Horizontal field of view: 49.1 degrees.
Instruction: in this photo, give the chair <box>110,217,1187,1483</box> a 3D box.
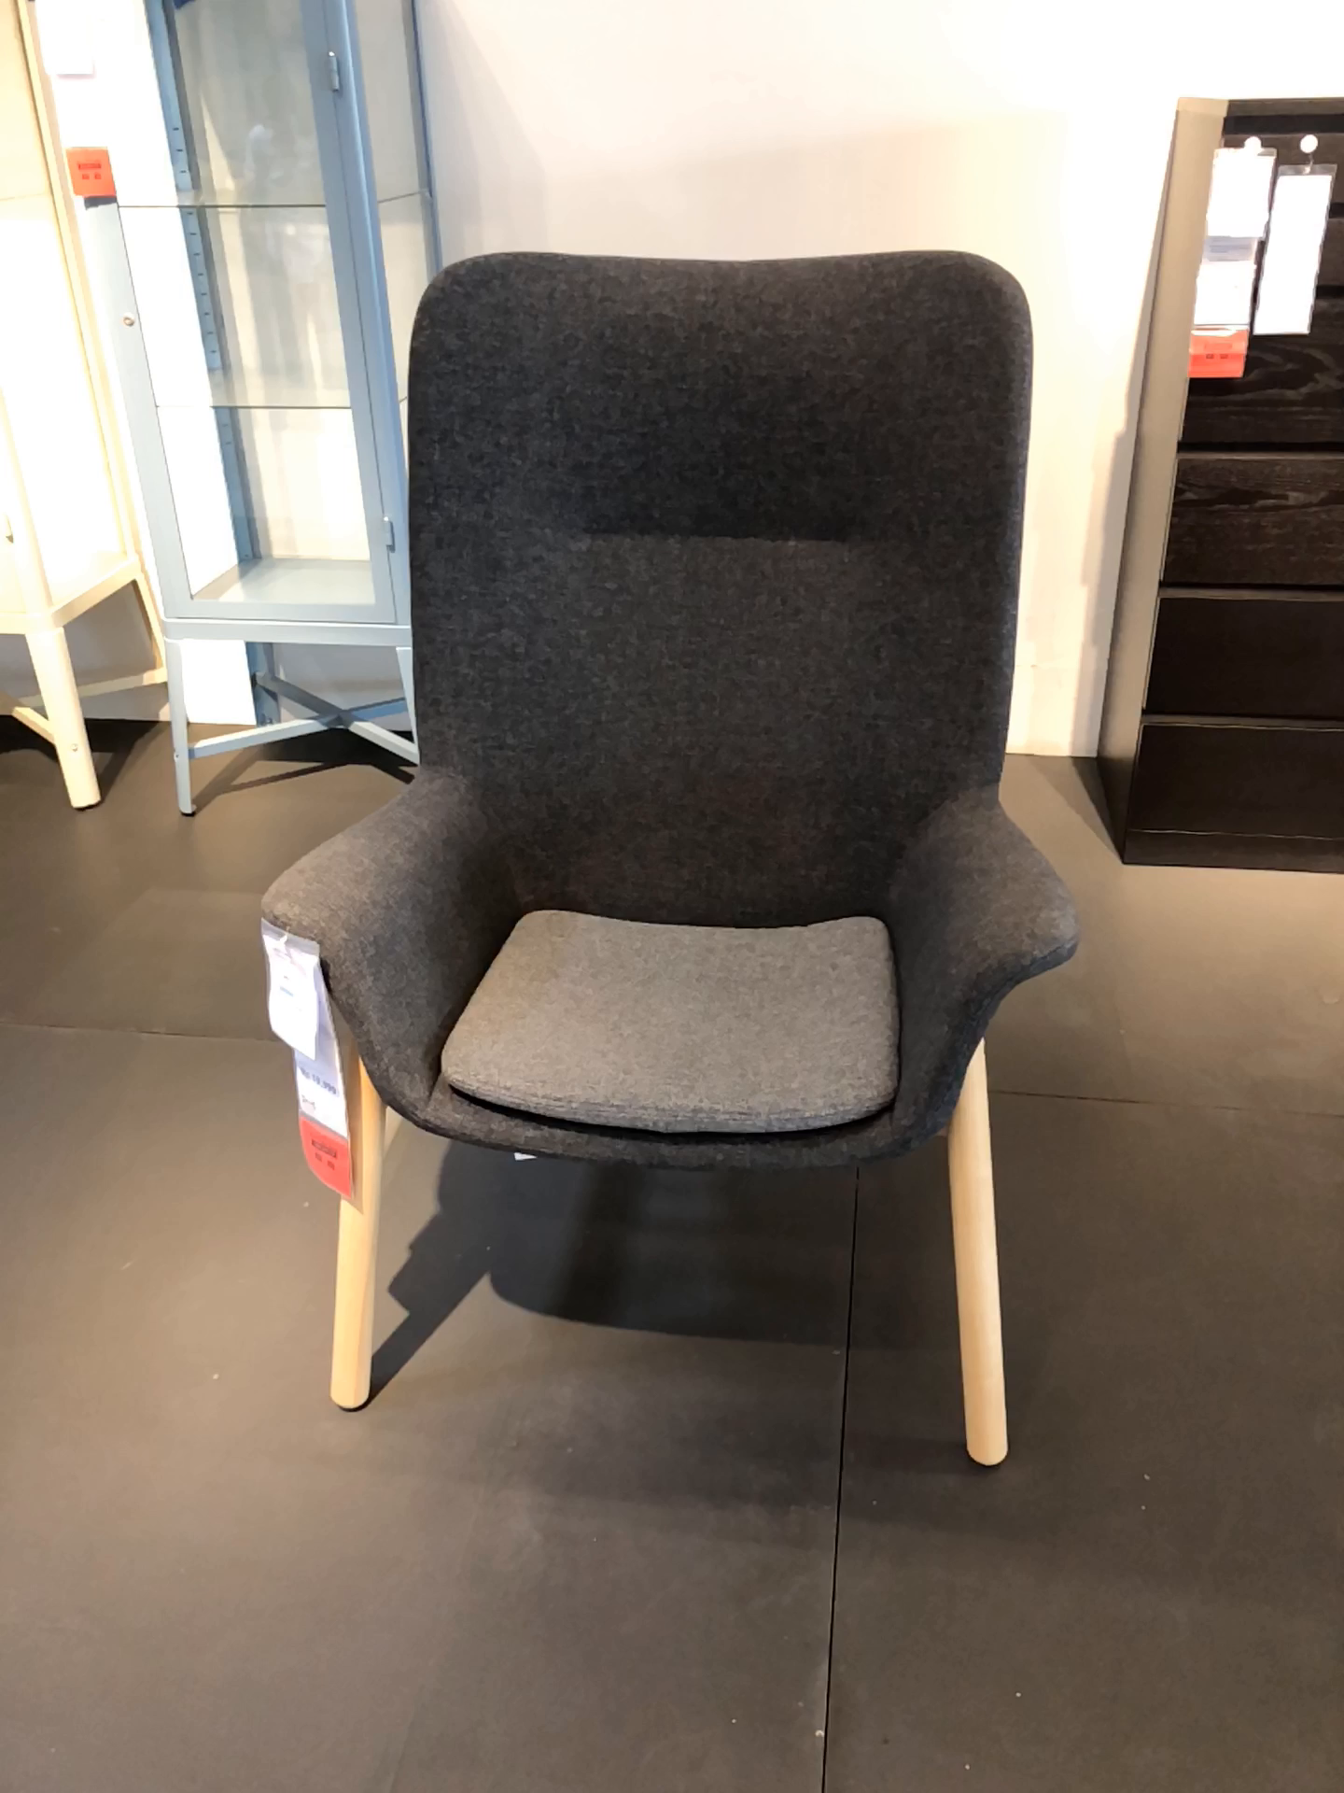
[{"bbox_3d":[0.030,-0.090,1.531,0.720,1.063,0.714,3,28,8],"label":"chair"}]
